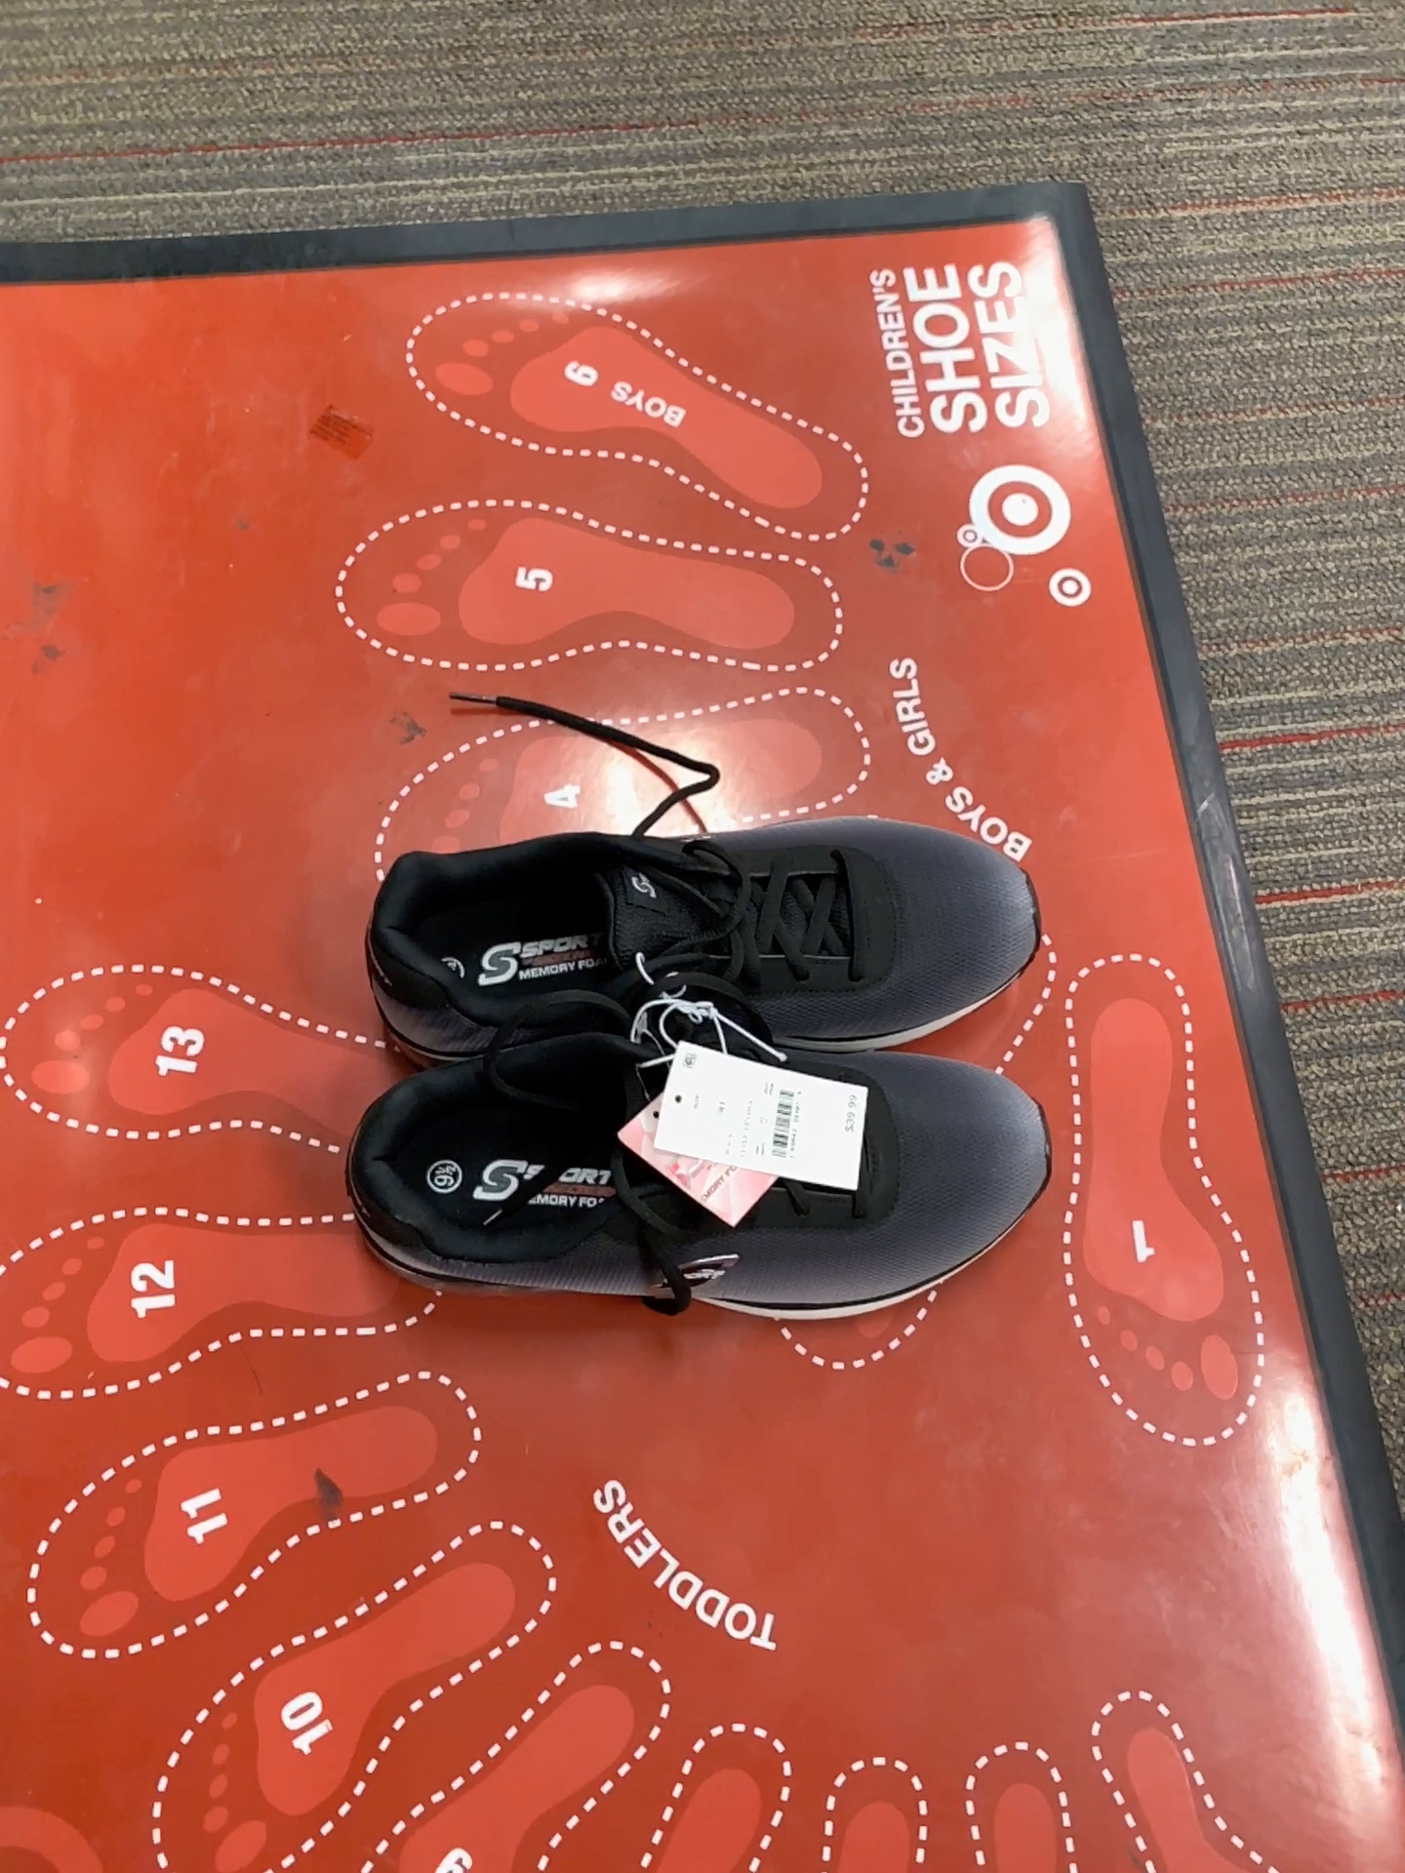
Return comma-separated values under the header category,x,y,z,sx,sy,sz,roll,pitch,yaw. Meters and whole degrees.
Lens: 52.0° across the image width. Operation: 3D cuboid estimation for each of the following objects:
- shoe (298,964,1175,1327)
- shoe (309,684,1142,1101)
category,x,y,z,sx,sy,sz,roll,pitch,yaw
shoe,0.008,0.074,0.488,0.260,0.100,0.100,-1,73,-4
shoe,0.004,-0.013,0.513,0.260,0.100,0.100,-5,74,-5
